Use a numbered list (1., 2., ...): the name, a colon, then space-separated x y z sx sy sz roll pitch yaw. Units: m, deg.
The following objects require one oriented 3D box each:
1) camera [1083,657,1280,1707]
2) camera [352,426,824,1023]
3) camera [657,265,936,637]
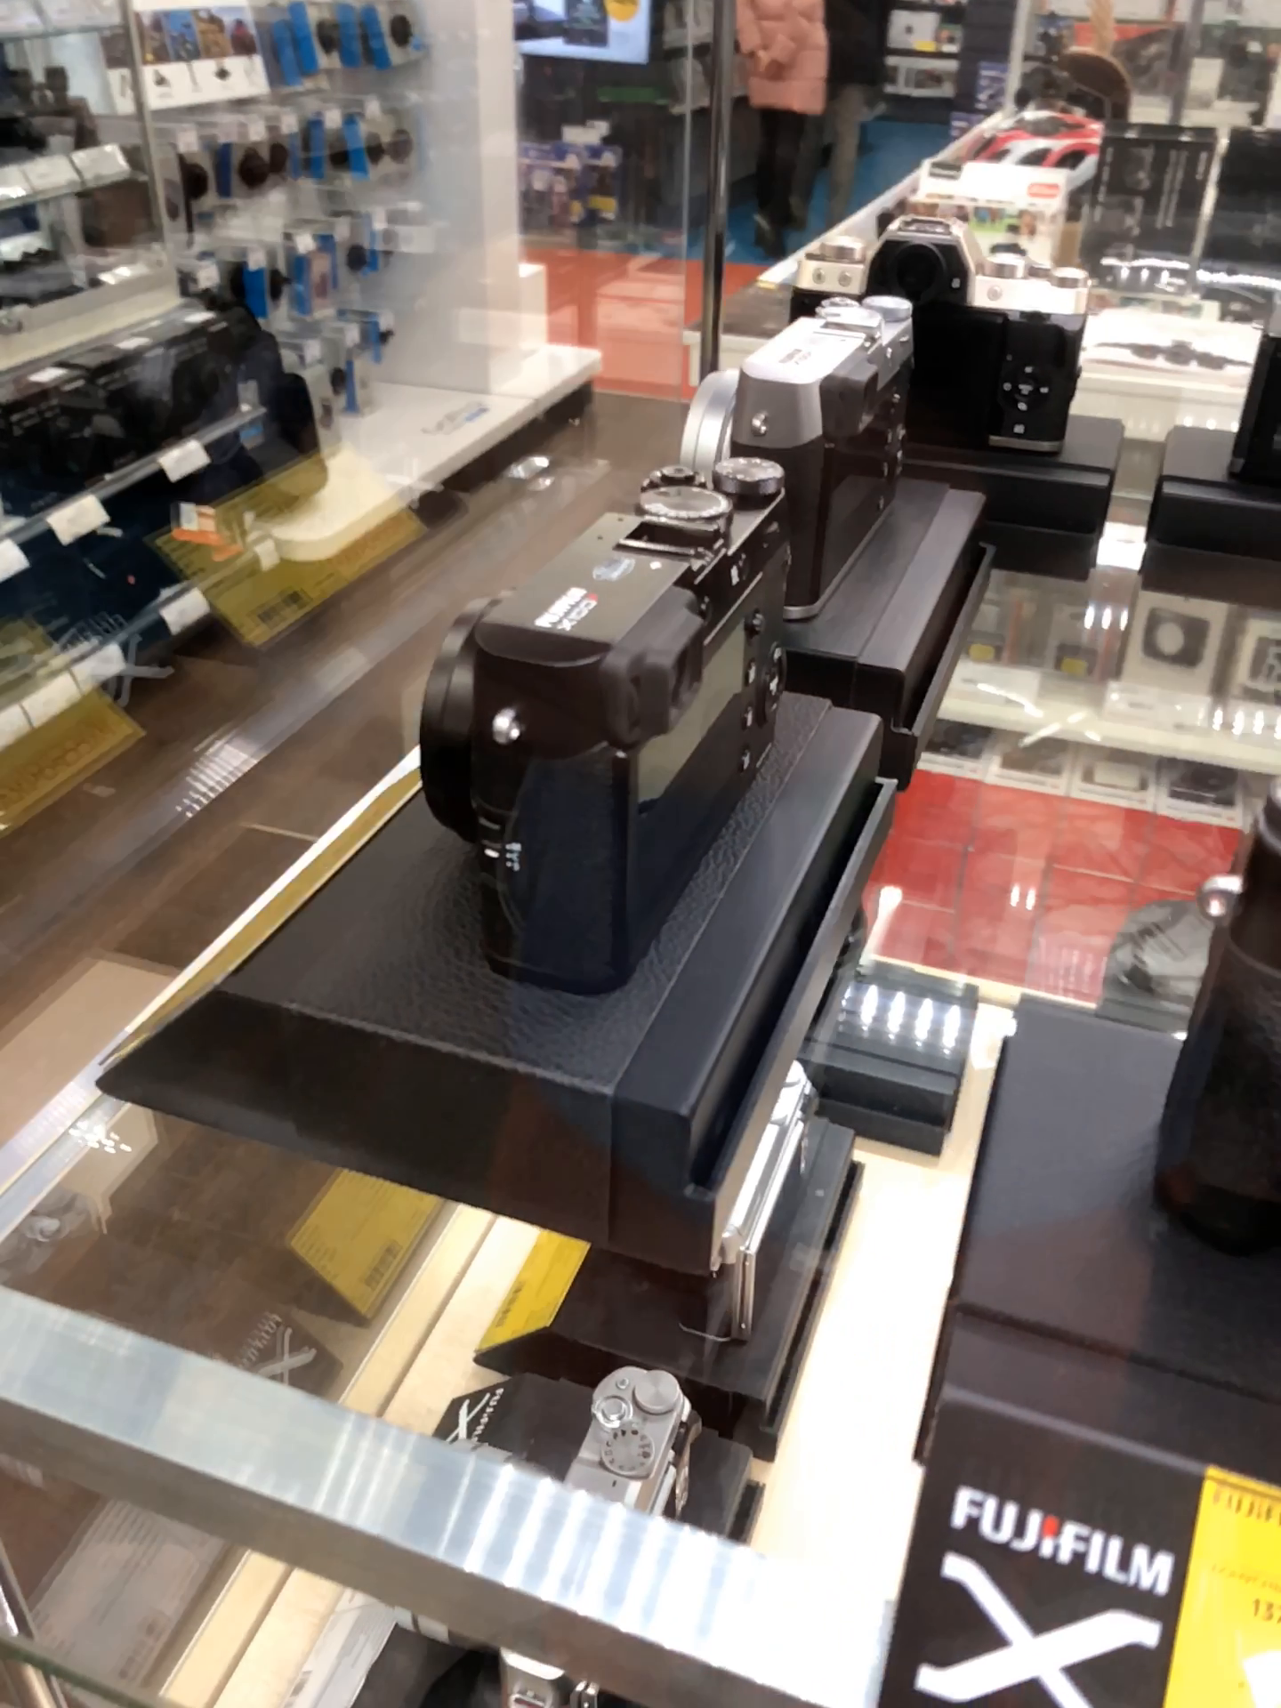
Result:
1. camera: 0.138 0.042 0.186 0.131 0.080 0.104 12 34 16
2. camera: -0.004 -0.037 0.314 0.054 0.075 0.131 12 34 16
3. camera: 0.054 -0.138 0.465 0.054 0.080 0.131 12 34 16
